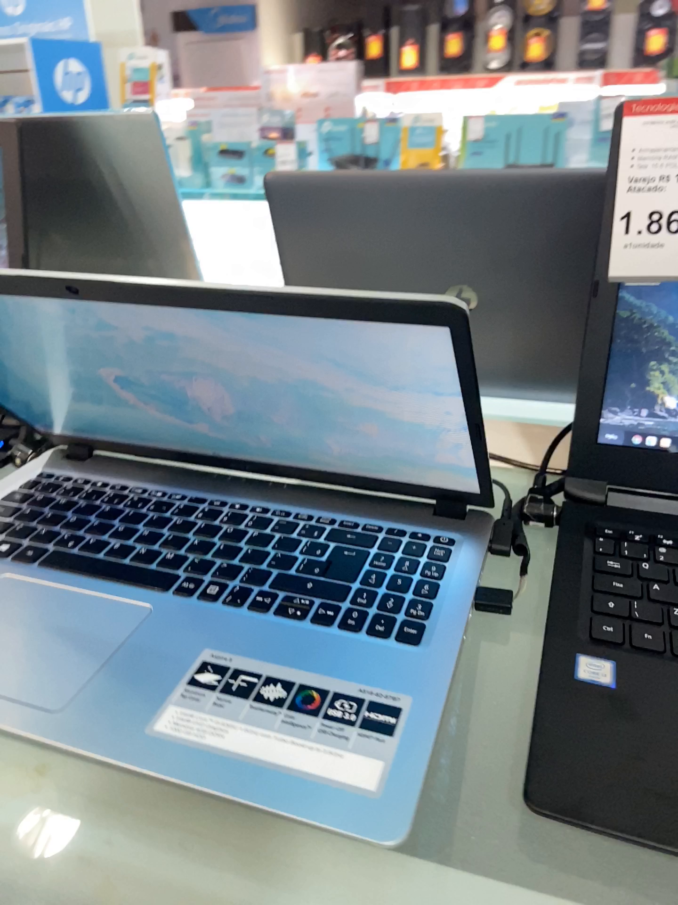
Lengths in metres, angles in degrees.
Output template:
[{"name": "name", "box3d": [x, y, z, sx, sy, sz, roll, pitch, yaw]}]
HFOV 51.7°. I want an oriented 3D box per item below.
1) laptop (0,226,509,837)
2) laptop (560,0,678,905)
[{"name": "laptop", "box3d": [-0.108, -0.008, 0.379, 0.352, 0.175, 0.237, 7, 27, 18]}, {"name": "laptop", "box3d": [0.291, -0.015, 0.280, 0.354, 0.238, 0.289, 6, 27, 20]}]
